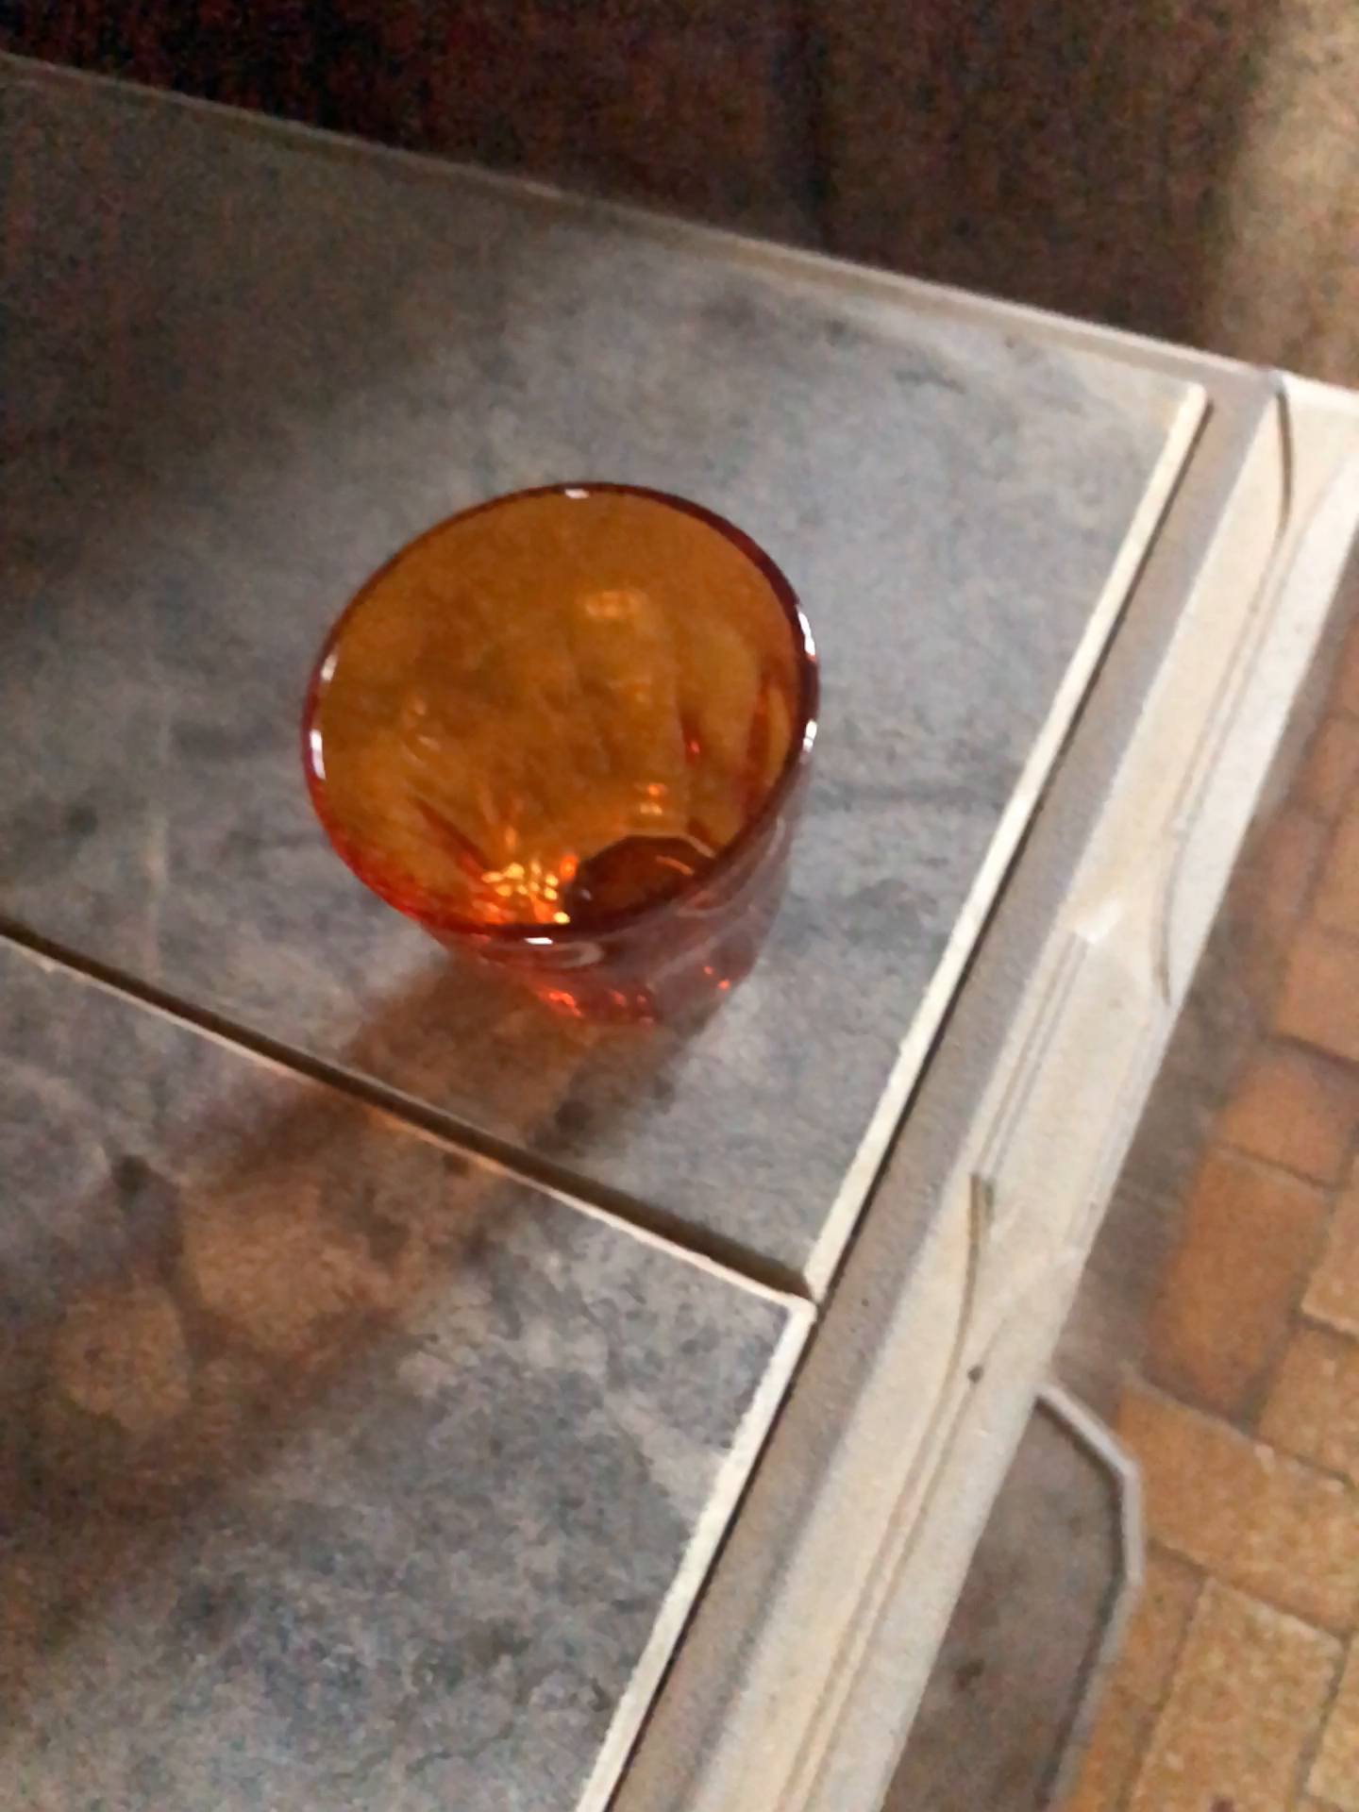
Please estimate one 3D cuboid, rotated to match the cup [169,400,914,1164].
[{"bbox_3d":[-0.014,-0.018,0.246,0.080,0.070,0.080,-3,67,7],"label":"cup"}]
